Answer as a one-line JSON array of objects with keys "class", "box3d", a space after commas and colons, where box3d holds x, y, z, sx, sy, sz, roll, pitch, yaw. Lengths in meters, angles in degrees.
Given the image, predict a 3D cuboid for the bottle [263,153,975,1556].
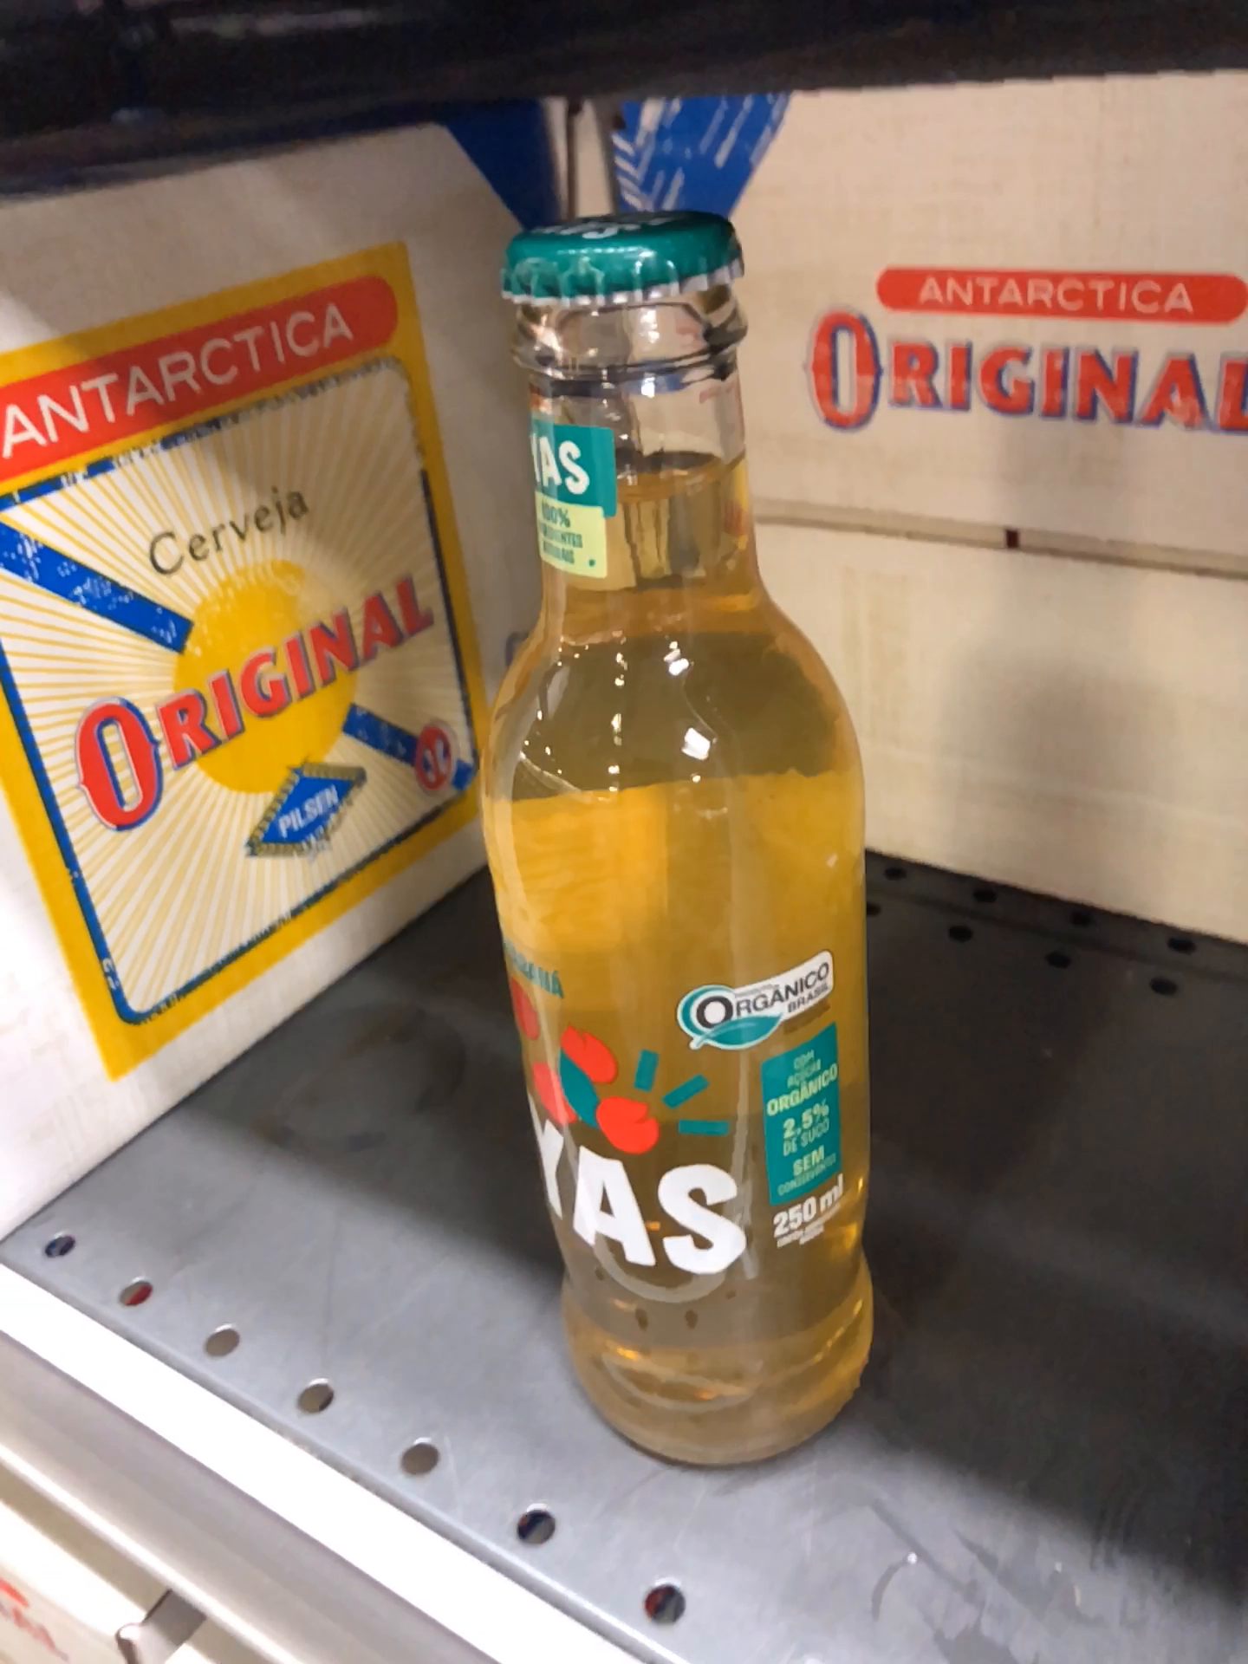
[{"class": "bottle", "box3d": [0.012, 0.012, 0.212, 0.060, 0.198, 0.060, -6, 31, 3]}]
